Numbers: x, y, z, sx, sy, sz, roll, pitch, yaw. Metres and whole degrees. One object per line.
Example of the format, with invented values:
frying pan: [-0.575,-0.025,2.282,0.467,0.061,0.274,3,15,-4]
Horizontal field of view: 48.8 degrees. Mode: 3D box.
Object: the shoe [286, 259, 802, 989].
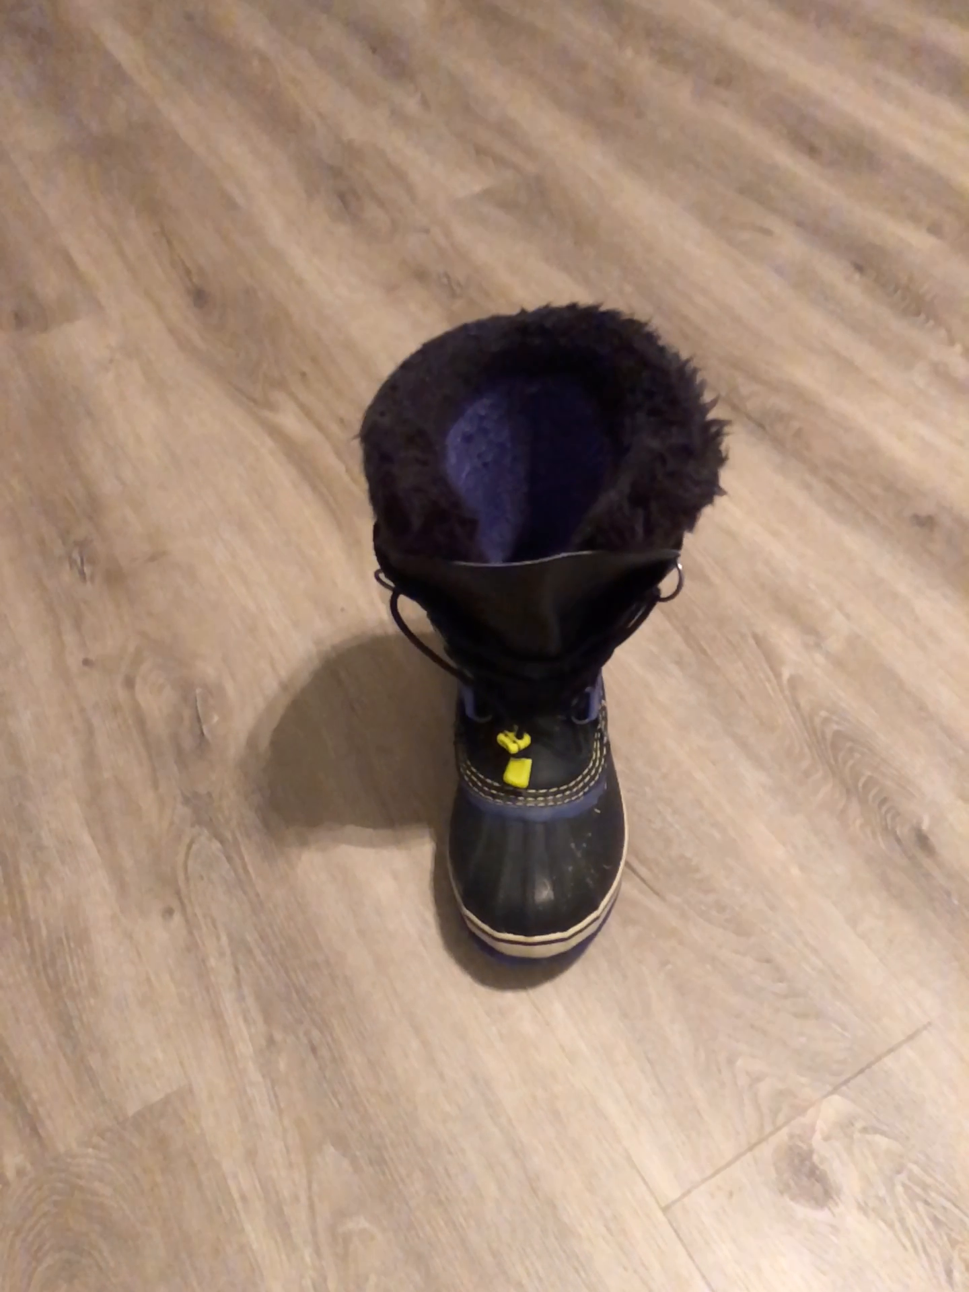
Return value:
shoe: [0.029,-0.003,0.532,0.170,0.269,0.241,2,51,3]
